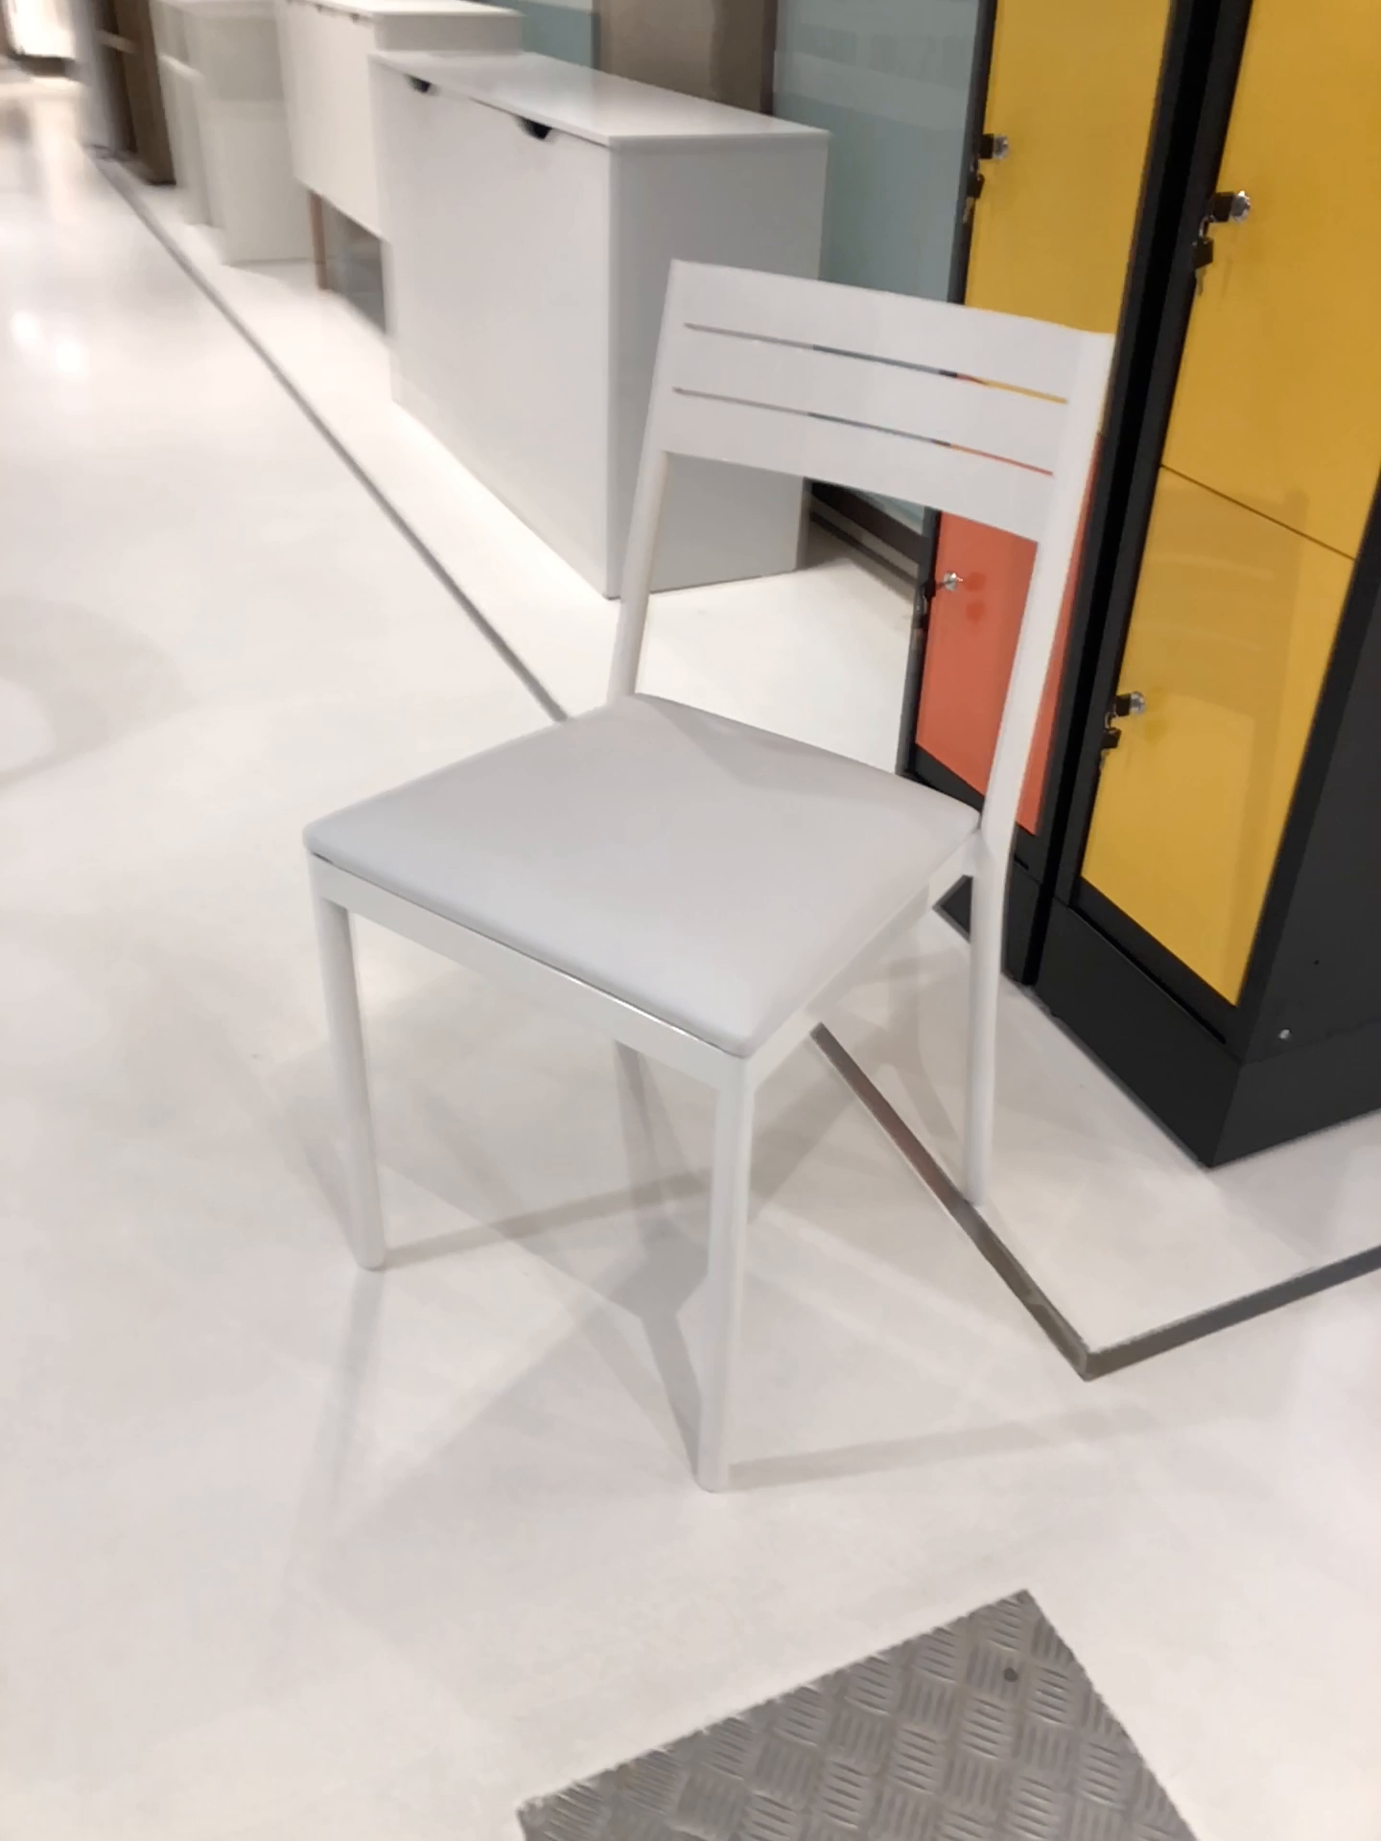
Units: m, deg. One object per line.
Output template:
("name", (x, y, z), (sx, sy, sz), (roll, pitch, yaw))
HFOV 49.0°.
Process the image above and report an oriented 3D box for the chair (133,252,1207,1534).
("chair", (0.000, -0.063, 1.193), (0.481, 0.734, 0.533), (23, 39, 29))
